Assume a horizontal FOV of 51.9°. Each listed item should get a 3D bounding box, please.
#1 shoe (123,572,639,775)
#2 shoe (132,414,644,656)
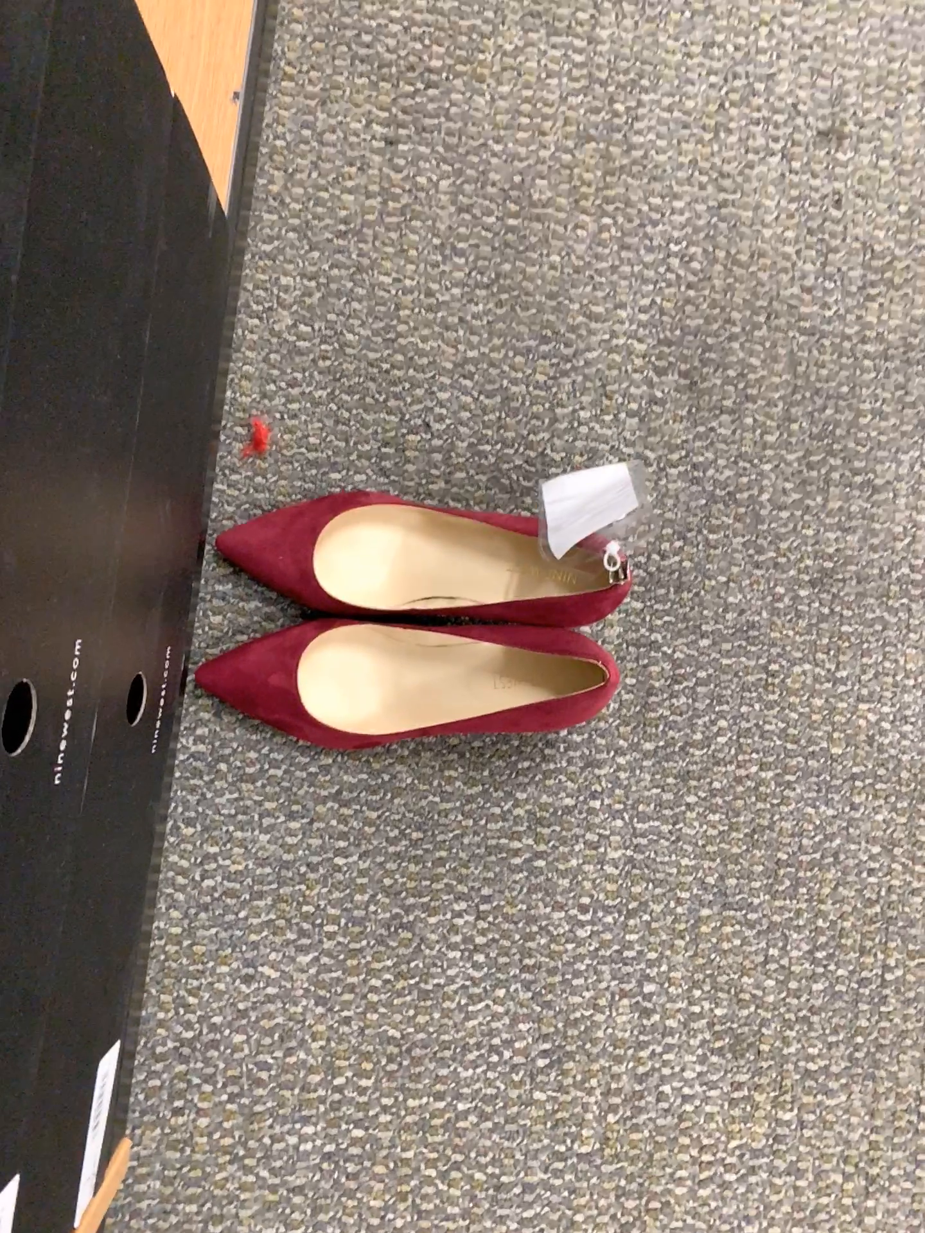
[{"bbox_3d":[-0.045,0.036,0.569,0.250,0.200,0.090,3,86,-5],"label":"shoe"},{"bbox_3d":[-0.043,-0.036,0.579,0.250,0.200,0.090,6,86,-5],"label":"shoe"}]
